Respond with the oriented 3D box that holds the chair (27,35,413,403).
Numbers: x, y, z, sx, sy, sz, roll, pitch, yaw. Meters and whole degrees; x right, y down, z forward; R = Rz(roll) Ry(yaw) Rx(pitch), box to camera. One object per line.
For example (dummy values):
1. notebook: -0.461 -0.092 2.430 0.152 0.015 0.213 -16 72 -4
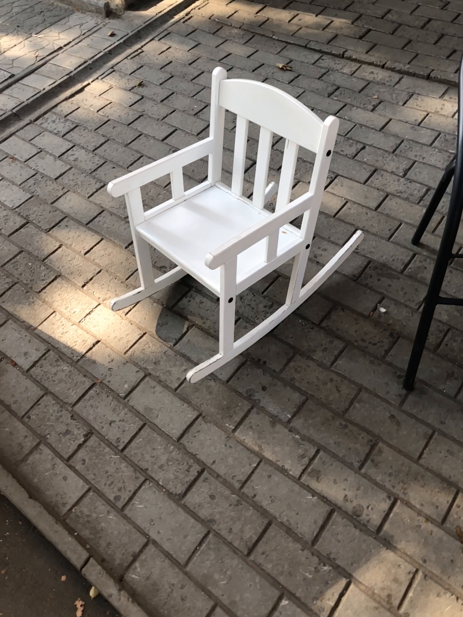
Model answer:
1. chair: 0.011 -0.254 1.280 0.441 0.459 0.751 36 63 29
